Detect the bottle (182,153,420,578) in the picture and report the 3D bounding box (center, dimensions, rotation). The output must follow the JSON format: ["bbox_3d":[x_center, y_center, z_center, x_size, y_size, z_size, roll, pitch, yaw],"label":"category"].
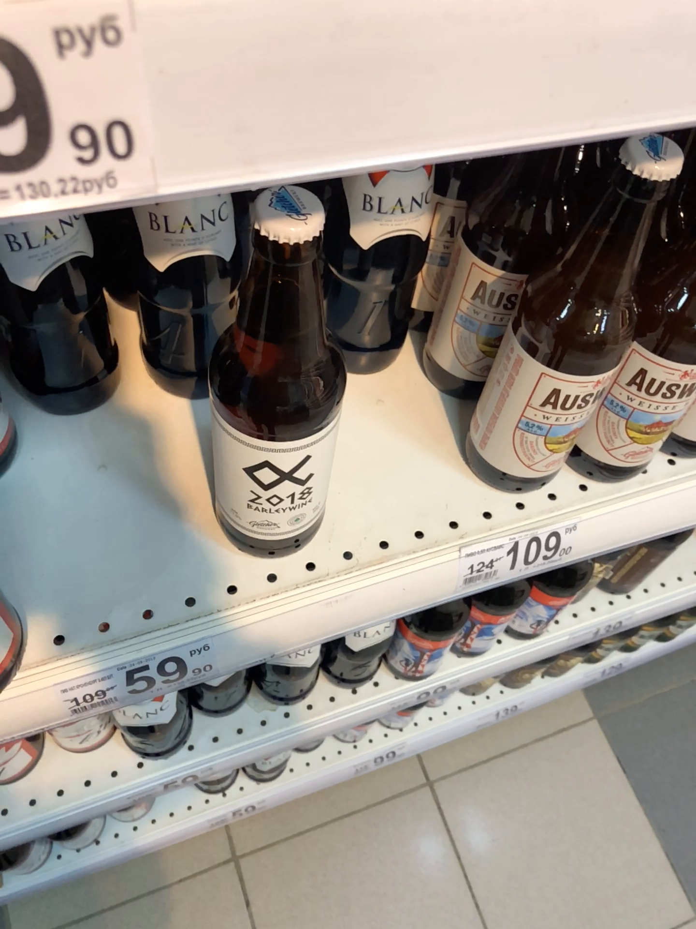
[{"bbox_3d":[-0.034,-0.030,0.402,0.080,0.252,0.070,-8,60,-12],"label":"bottle"}]
